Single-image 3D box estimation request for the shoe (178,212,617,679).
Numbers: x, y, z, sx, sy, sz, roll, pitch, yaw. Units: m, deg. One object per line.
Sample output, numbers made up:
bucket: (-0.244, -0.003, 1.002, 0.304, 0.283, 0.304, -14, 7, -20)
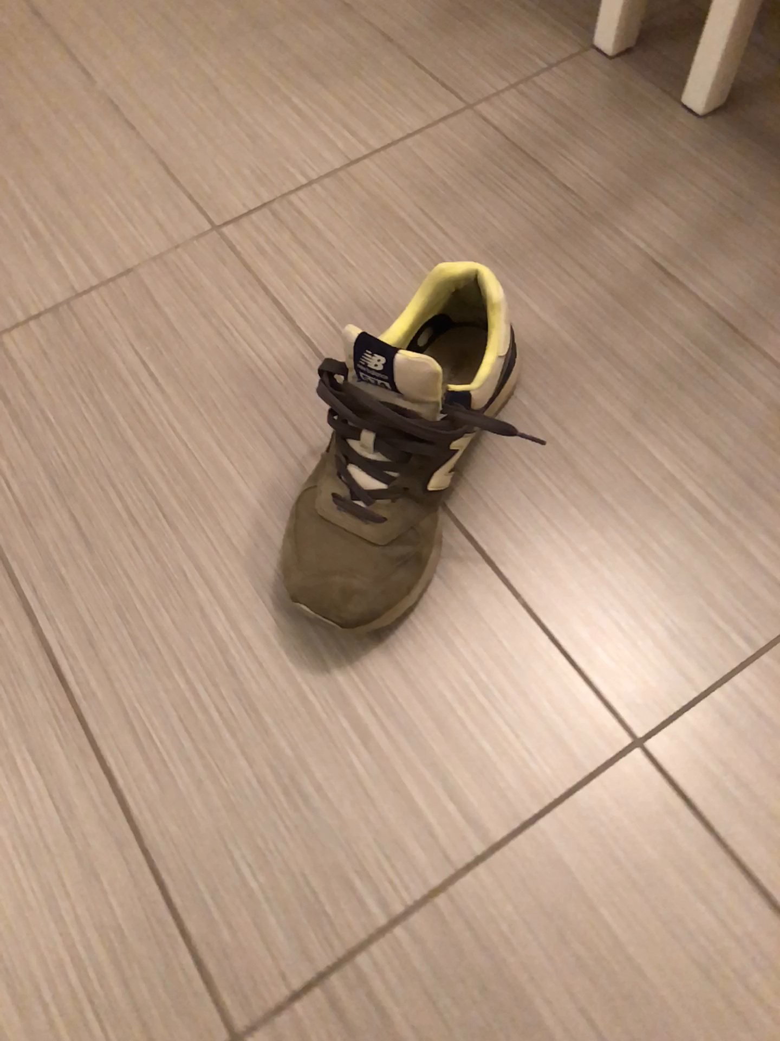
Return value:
shoe: (0.018, -0.063, 0.613, 0.130, 0.110, 0.311, 32, 66, 20)
